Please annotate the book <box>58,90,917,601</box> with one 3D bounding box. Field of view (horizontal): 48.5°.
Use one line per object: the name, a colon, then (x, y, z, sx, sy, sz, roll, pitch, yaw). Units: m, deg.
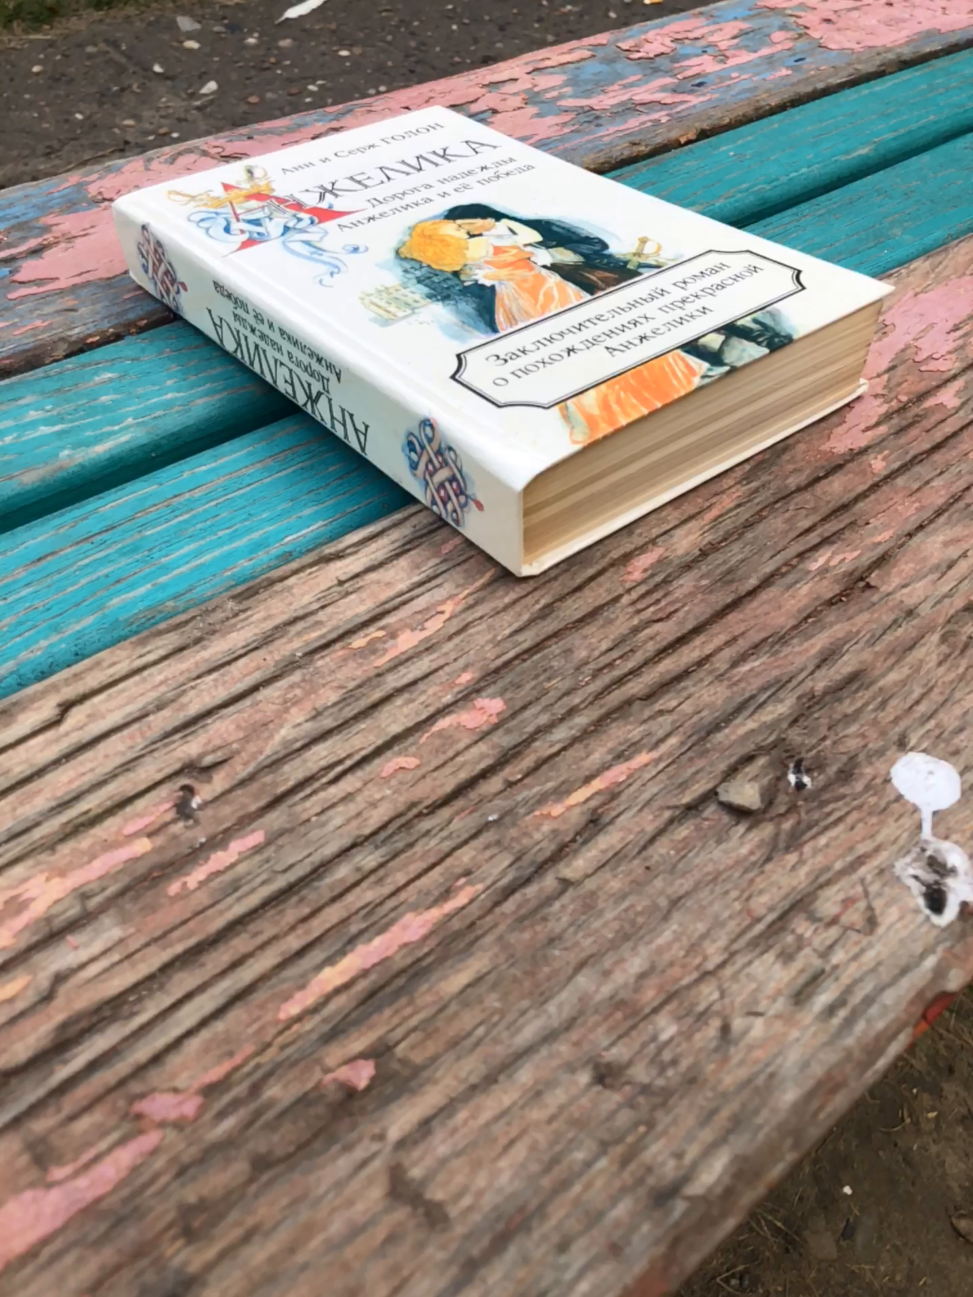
book: (-0.008, -0.113, 0.331, 0.154, 0.032, 0.214, -29, 52, -29)
